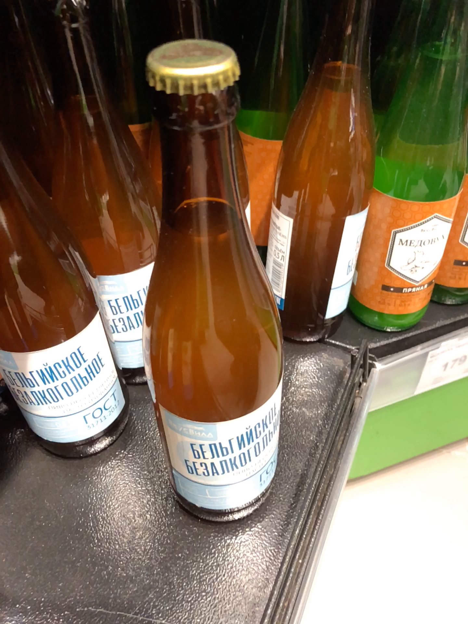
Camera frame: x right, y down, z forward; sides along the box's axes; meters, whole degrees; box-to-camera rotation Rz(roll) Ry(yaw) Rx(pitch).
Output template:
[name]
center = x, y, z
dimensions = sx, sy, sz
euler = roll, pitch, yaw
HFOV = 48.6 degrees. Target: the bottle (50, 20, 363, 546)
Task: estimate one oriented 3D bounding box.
[bottle]
center = -0.013, 0.012, 0.257
dimensions = 0.080, 0.255, 0.080
euler = 0, 44, 0
